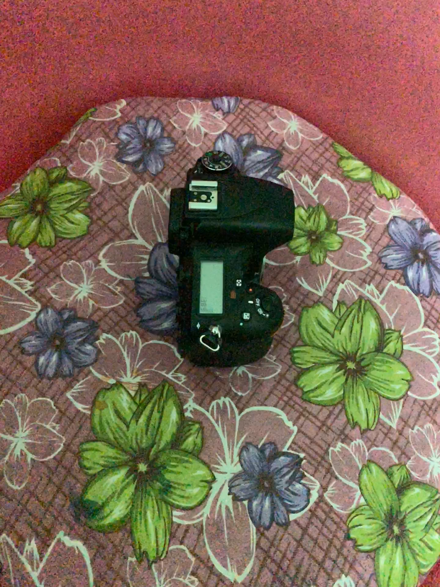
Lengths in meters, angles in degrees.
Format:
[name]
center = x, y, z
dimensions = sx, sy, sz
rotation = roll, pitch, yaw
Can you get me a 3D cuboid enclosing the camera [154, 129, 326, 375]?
[camera]
center = 0.004, -0.021, 0.312
dimensions = 0.092, 0.090, 0.140
rotation = 2, 71, -10
